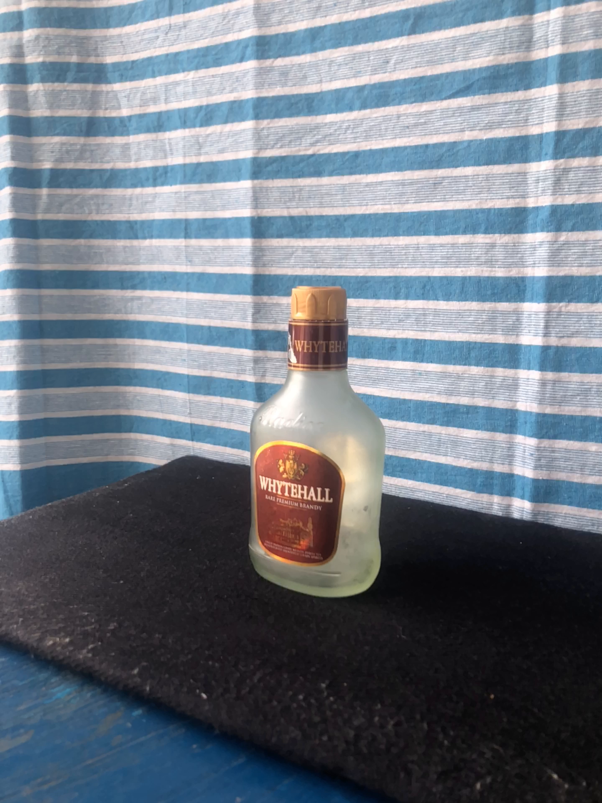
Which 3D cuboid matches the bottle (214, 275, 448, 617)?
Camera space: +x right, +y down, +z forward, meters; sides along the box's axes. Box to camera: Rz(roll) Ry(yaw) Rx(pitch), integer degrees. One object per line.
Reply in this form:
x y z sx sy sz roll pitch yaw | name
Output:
0.012 0.011 0.297 0.080 0.130 0.060 9 14 33 | bottle
